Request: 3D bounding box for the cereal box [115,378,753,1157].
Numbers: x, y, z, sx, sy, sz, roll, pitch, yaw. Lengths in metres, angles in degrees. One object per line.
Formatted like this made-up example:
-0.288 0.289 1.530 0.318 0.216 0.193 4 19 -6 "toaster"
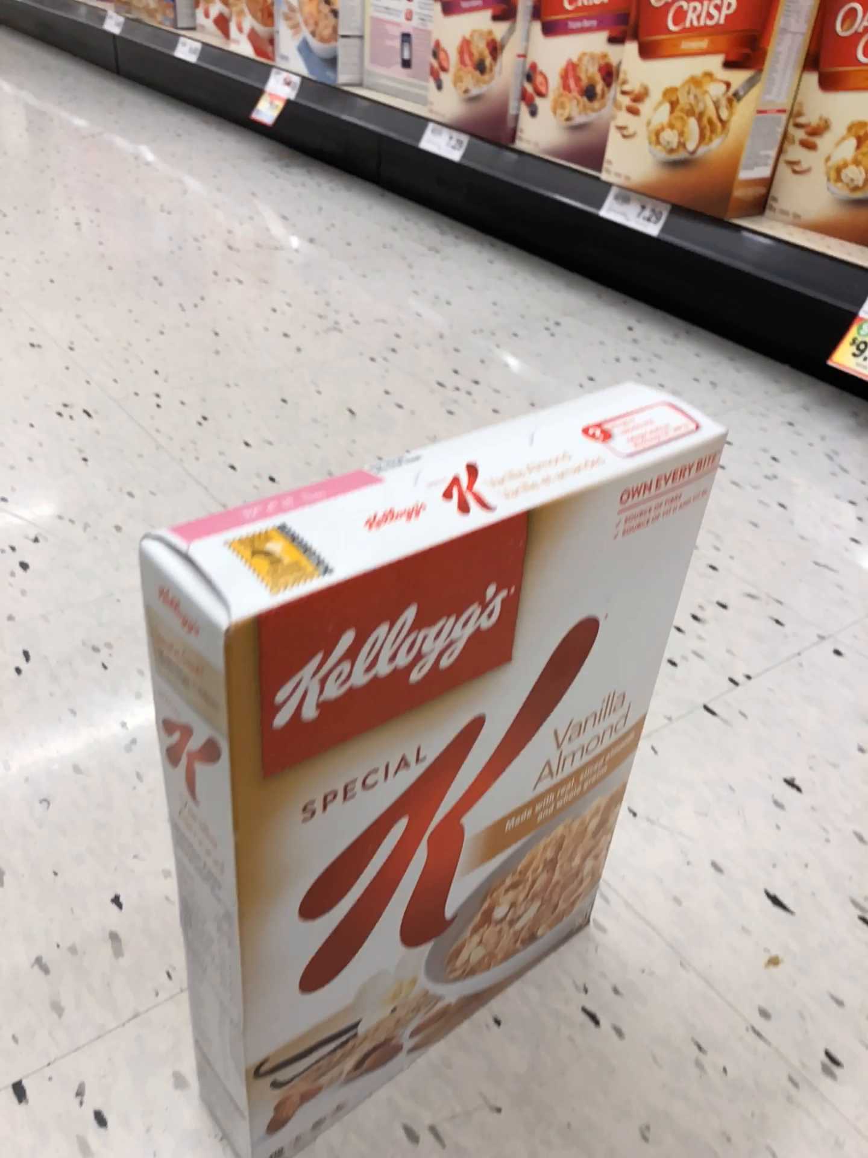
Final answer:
0.005 0.078 0.345 0.201 0.258 0.050 -22 41 -36 "cereal box"
